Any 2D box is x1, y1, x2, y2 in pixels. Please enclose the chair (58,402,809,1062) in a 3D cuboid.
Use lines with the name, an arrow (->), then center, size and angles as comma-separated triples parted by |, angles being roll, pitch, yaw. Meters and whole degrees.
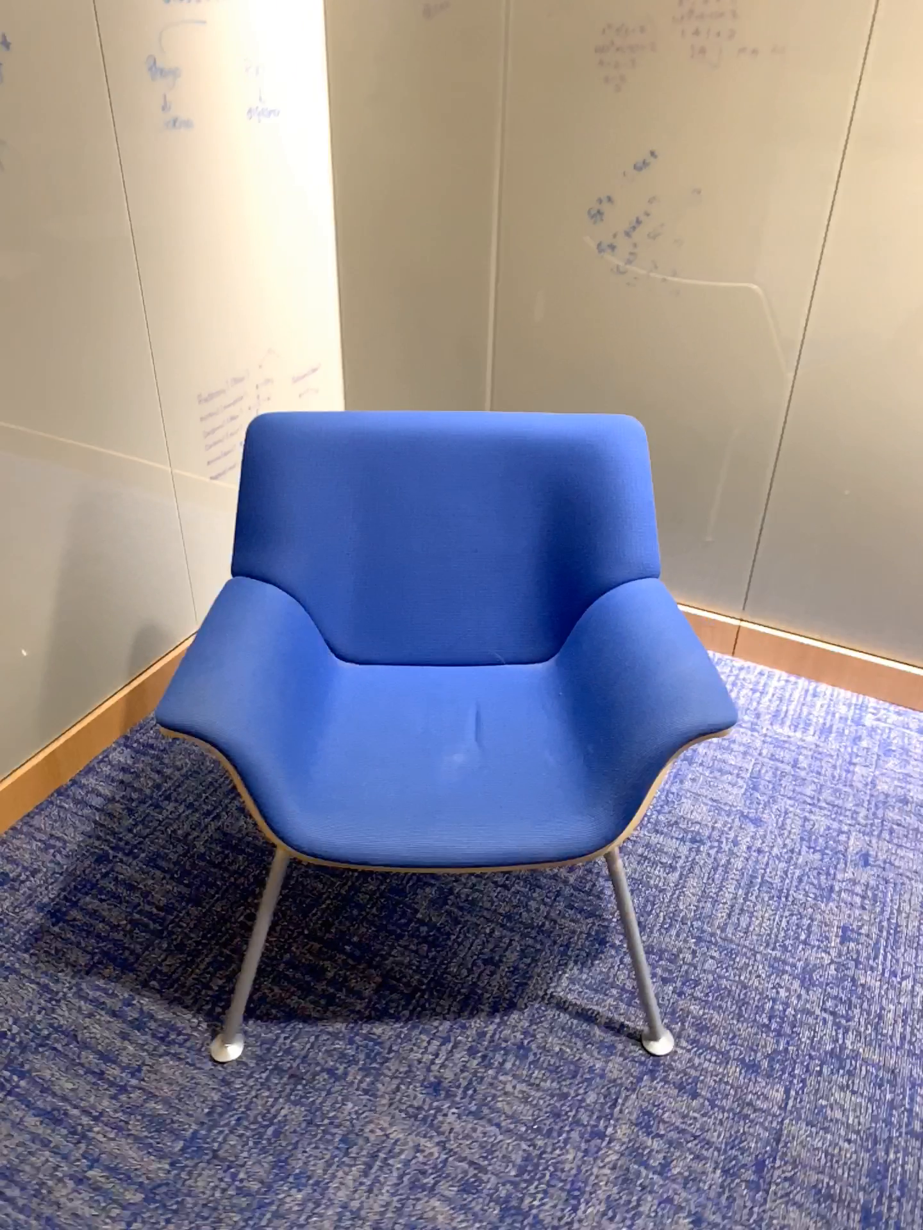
chair -> -0.041, 0.144, 1.499 | 0.788, 0.712, 0.745 | 0, 33, -2
